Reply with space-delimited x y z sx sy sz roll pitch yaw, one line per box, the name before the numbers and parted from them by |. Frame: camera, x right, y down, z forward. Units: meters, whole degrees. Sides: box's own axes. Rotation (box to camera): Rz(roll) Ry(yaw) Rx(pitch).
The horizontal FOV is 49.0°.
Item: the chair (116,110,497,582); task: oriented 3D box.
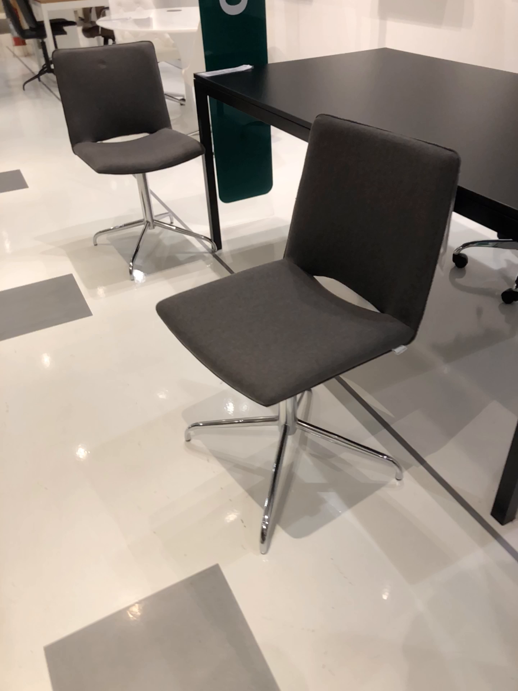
chair | 0.089 -0.022 1.350 0.532 0.844 0.522 -23 40 -26
